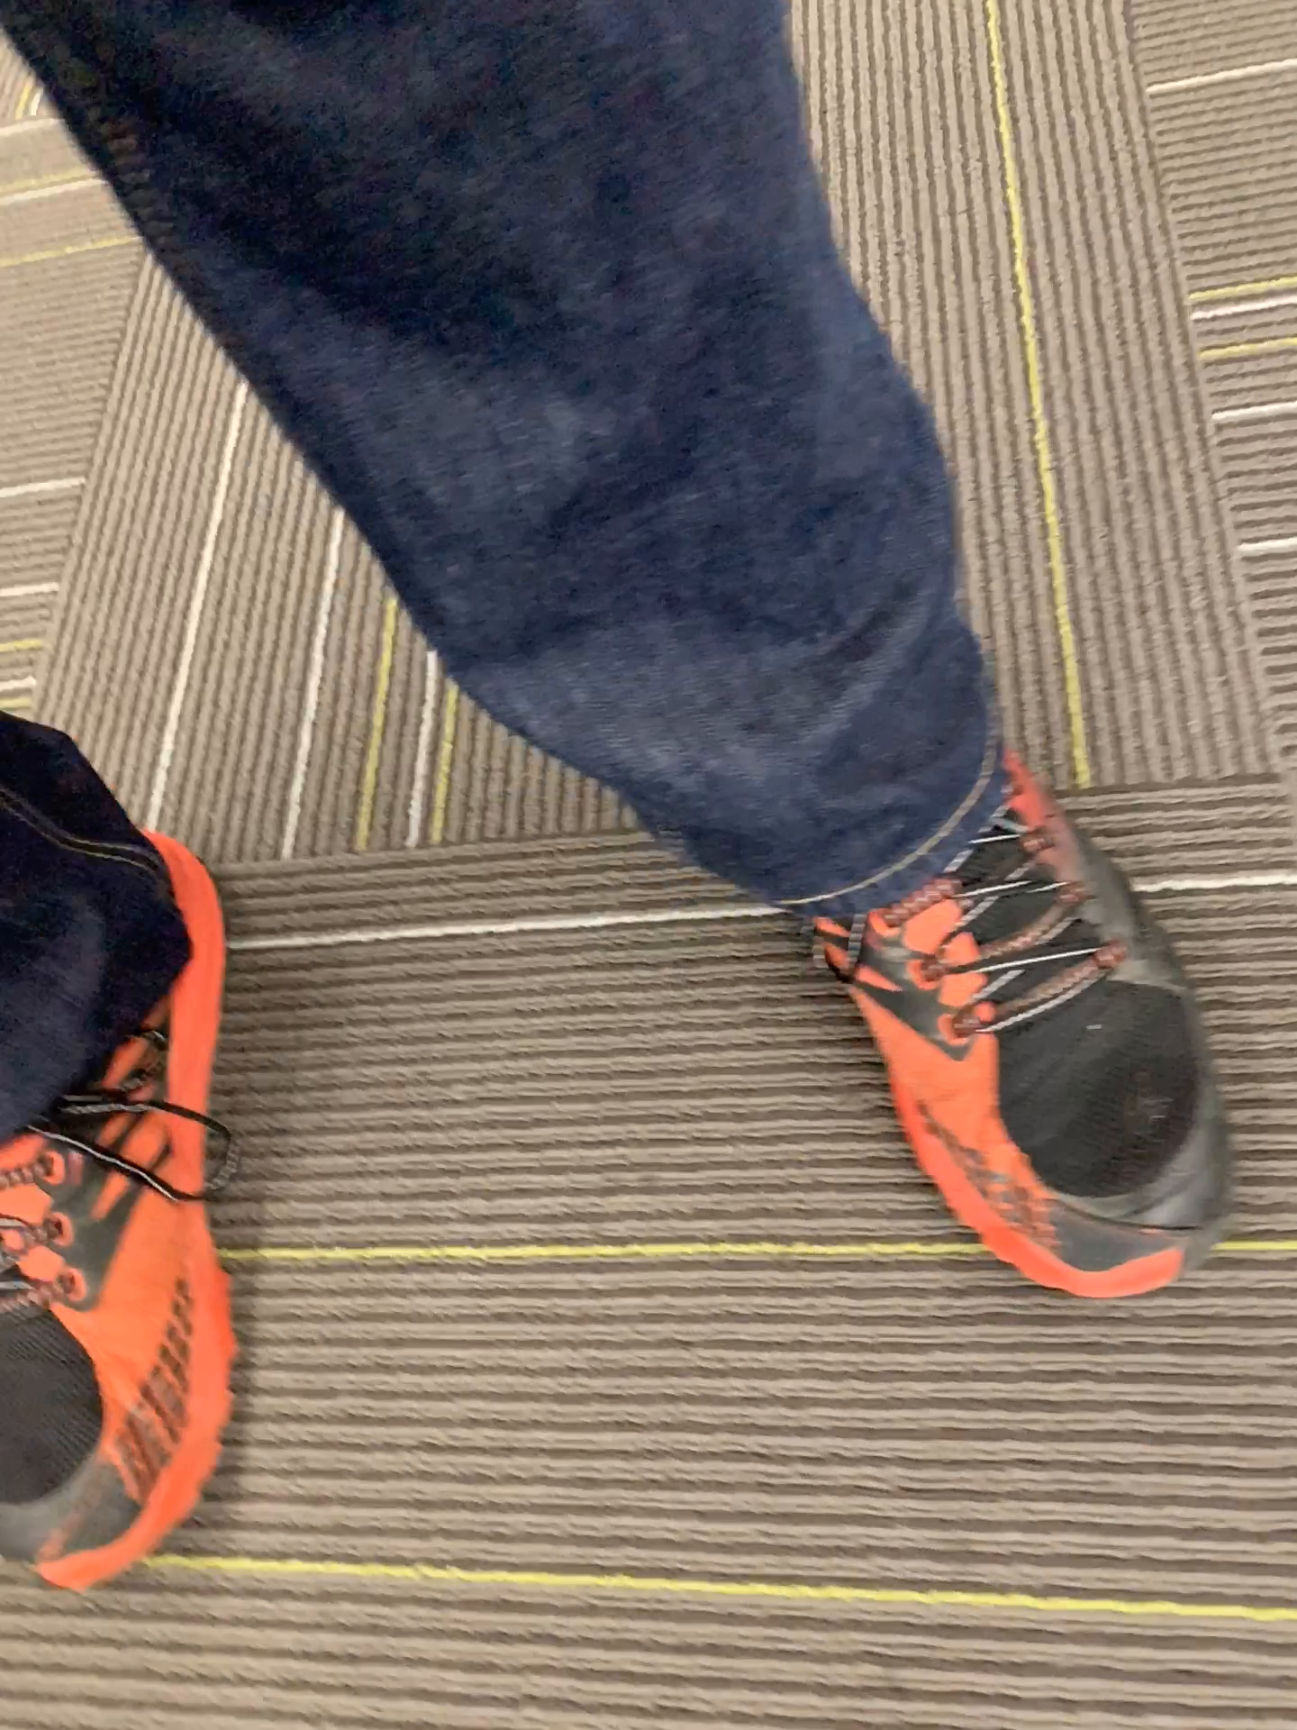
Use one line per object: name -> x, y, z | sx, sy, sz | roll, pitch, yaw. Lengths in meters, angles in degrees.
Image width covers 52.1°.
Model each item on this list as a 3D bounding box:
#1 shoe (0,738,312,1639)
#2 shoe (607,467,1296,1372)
shoe -> -0.237, 0.125, 0.558 | 0.120, 0.120, 0.321 | -16, 62, 7
shoe -> 0.115, 0.011, 0.496 | 0.130, 0.100, 0.301 | -29, 61, 1
